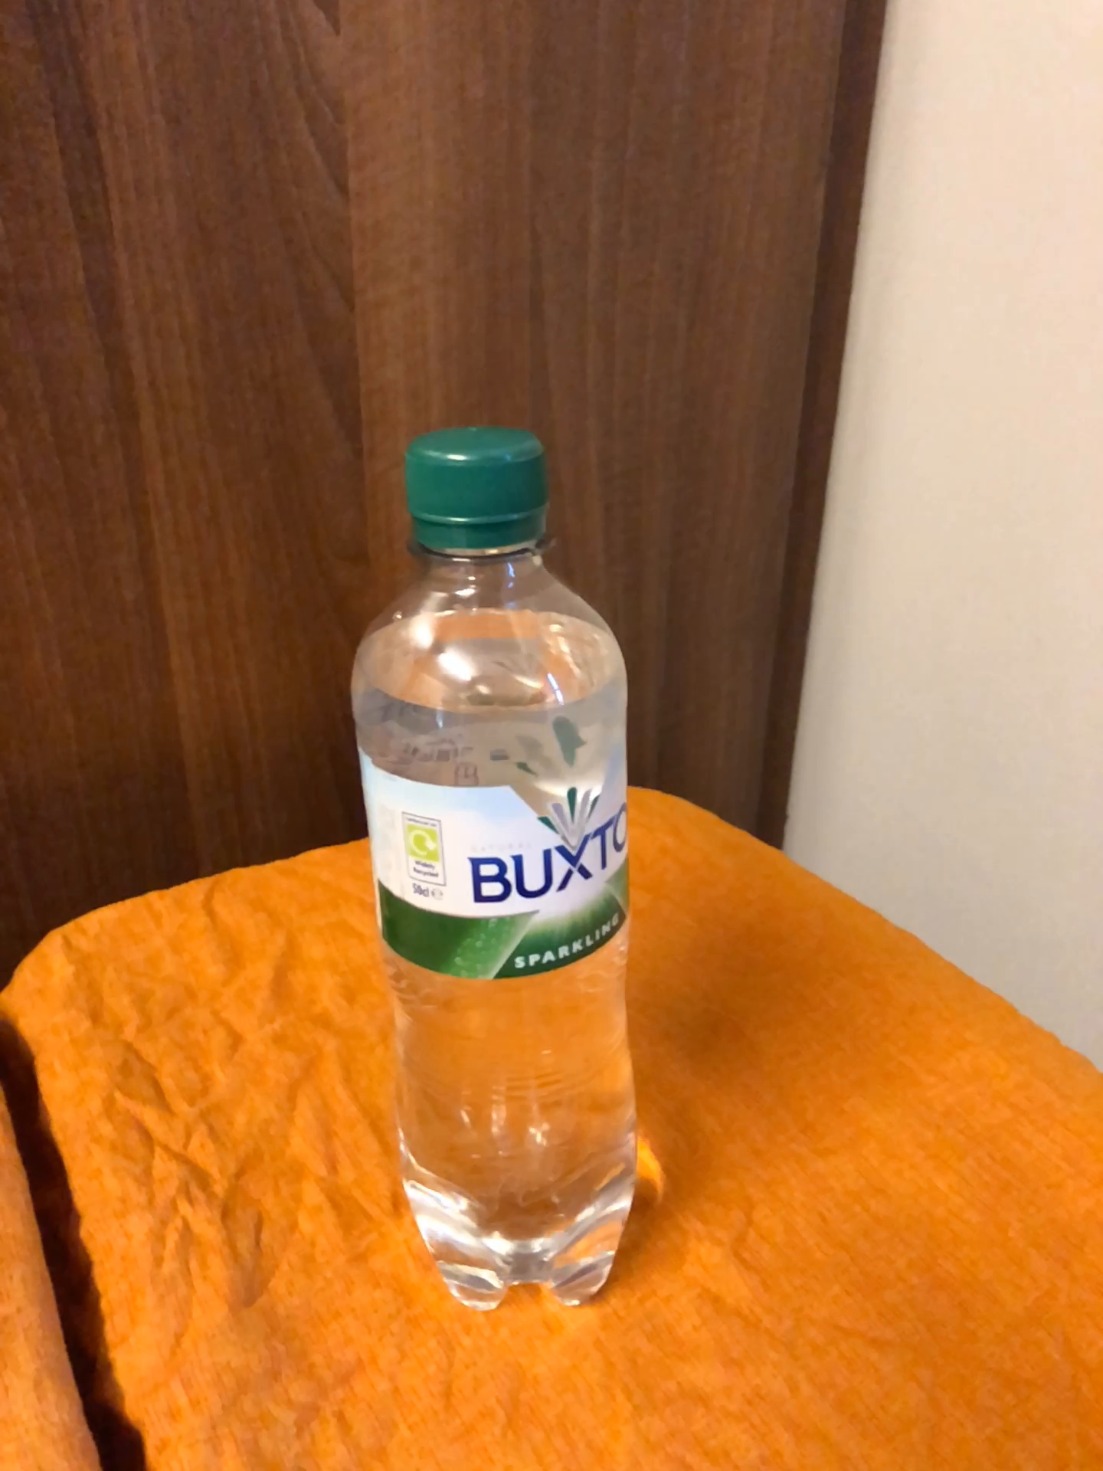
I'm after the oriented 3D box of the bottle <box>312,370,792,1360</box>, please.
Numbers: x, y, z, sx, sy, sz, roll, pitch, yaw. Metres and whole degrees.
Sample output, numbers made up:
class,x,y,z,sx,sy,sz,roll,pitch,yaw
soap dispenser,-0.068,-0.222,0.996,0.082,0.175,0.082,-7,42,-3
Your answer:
class,x,y,z,sx,sy,sz,roll,pitch,yaw
bottle,-0.004,0.034,0.293,0.070,0.218,0.070,1,27,-1
